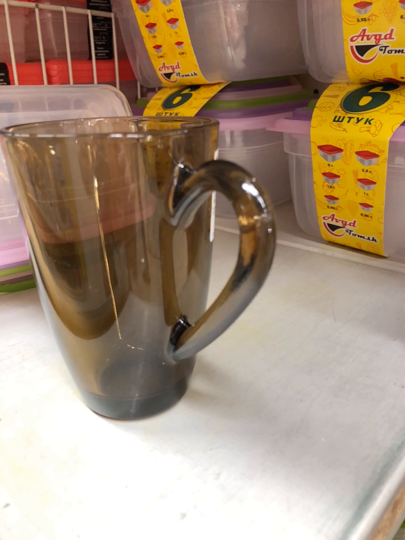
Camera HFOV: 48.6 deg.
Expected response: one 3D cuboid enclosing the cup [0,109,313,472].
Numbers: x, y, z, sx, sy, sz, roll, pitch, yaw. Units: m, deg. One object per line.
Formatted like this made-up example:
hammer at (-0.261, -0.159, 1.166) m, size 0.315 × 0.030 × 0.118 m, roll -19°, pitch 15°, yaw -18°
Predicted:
cup at (-0.026, -0.007, 0.172) m, size 0.112 × 0.096 × 0.072 m, roll 11°, pitch 26°, yaw 32°
